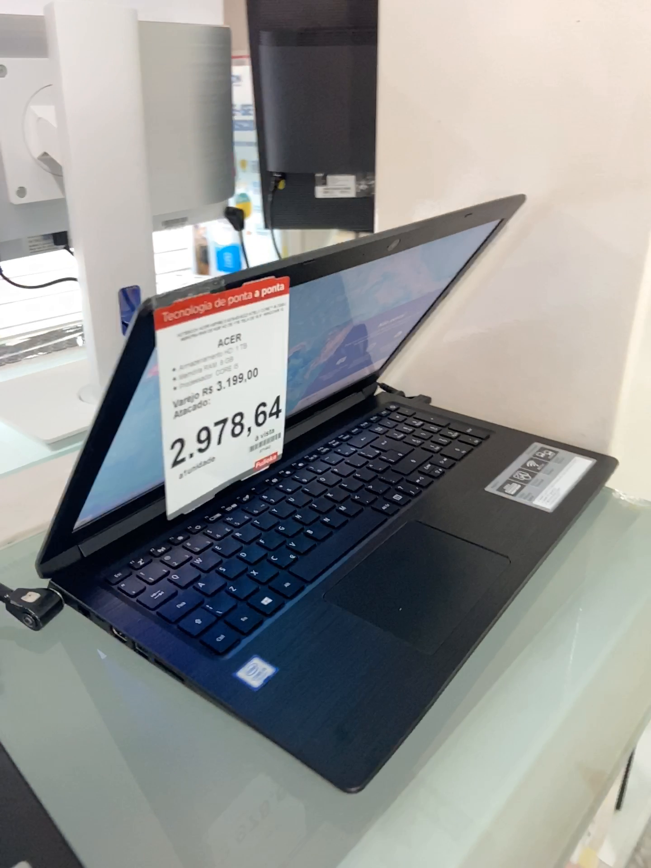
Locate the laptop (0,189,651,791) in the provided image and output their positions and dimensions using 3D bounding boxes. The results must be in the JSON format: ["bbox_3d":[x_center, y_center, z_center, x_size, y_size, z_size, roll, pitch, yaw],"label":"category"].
[{"bbox_3d":[0.032,-0.031,0.443,0.234,0.193,0.368,18,33,34],"label":"laptop"}]
